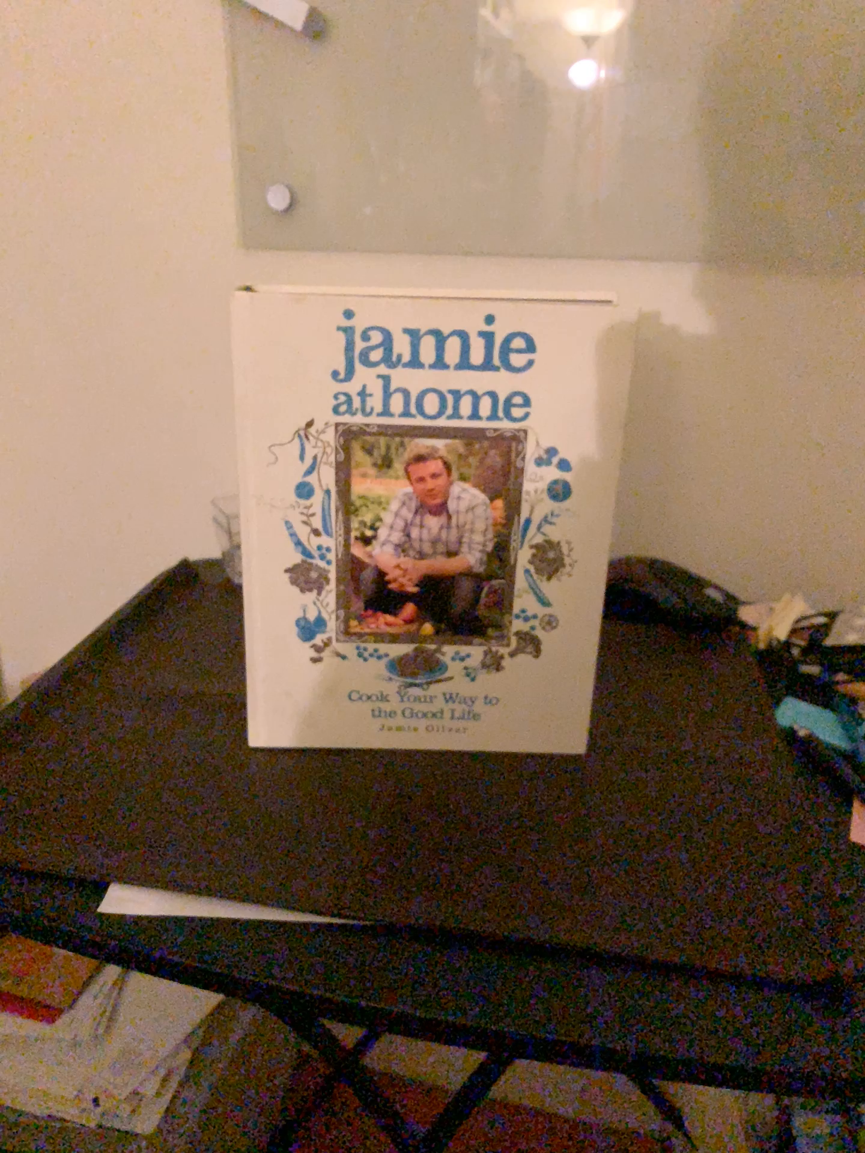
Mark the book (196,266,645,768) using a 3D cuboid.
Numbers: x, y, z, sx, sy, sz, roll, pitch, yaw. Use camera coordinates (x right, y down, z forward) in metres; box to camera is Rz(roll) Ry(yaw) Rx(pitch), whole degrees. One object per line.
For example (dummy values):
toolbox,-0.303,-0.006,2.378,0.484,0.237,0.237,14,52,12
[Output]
book,-0.008,-0.025,0.495,0.210,0.269,0.050,1,23,0
